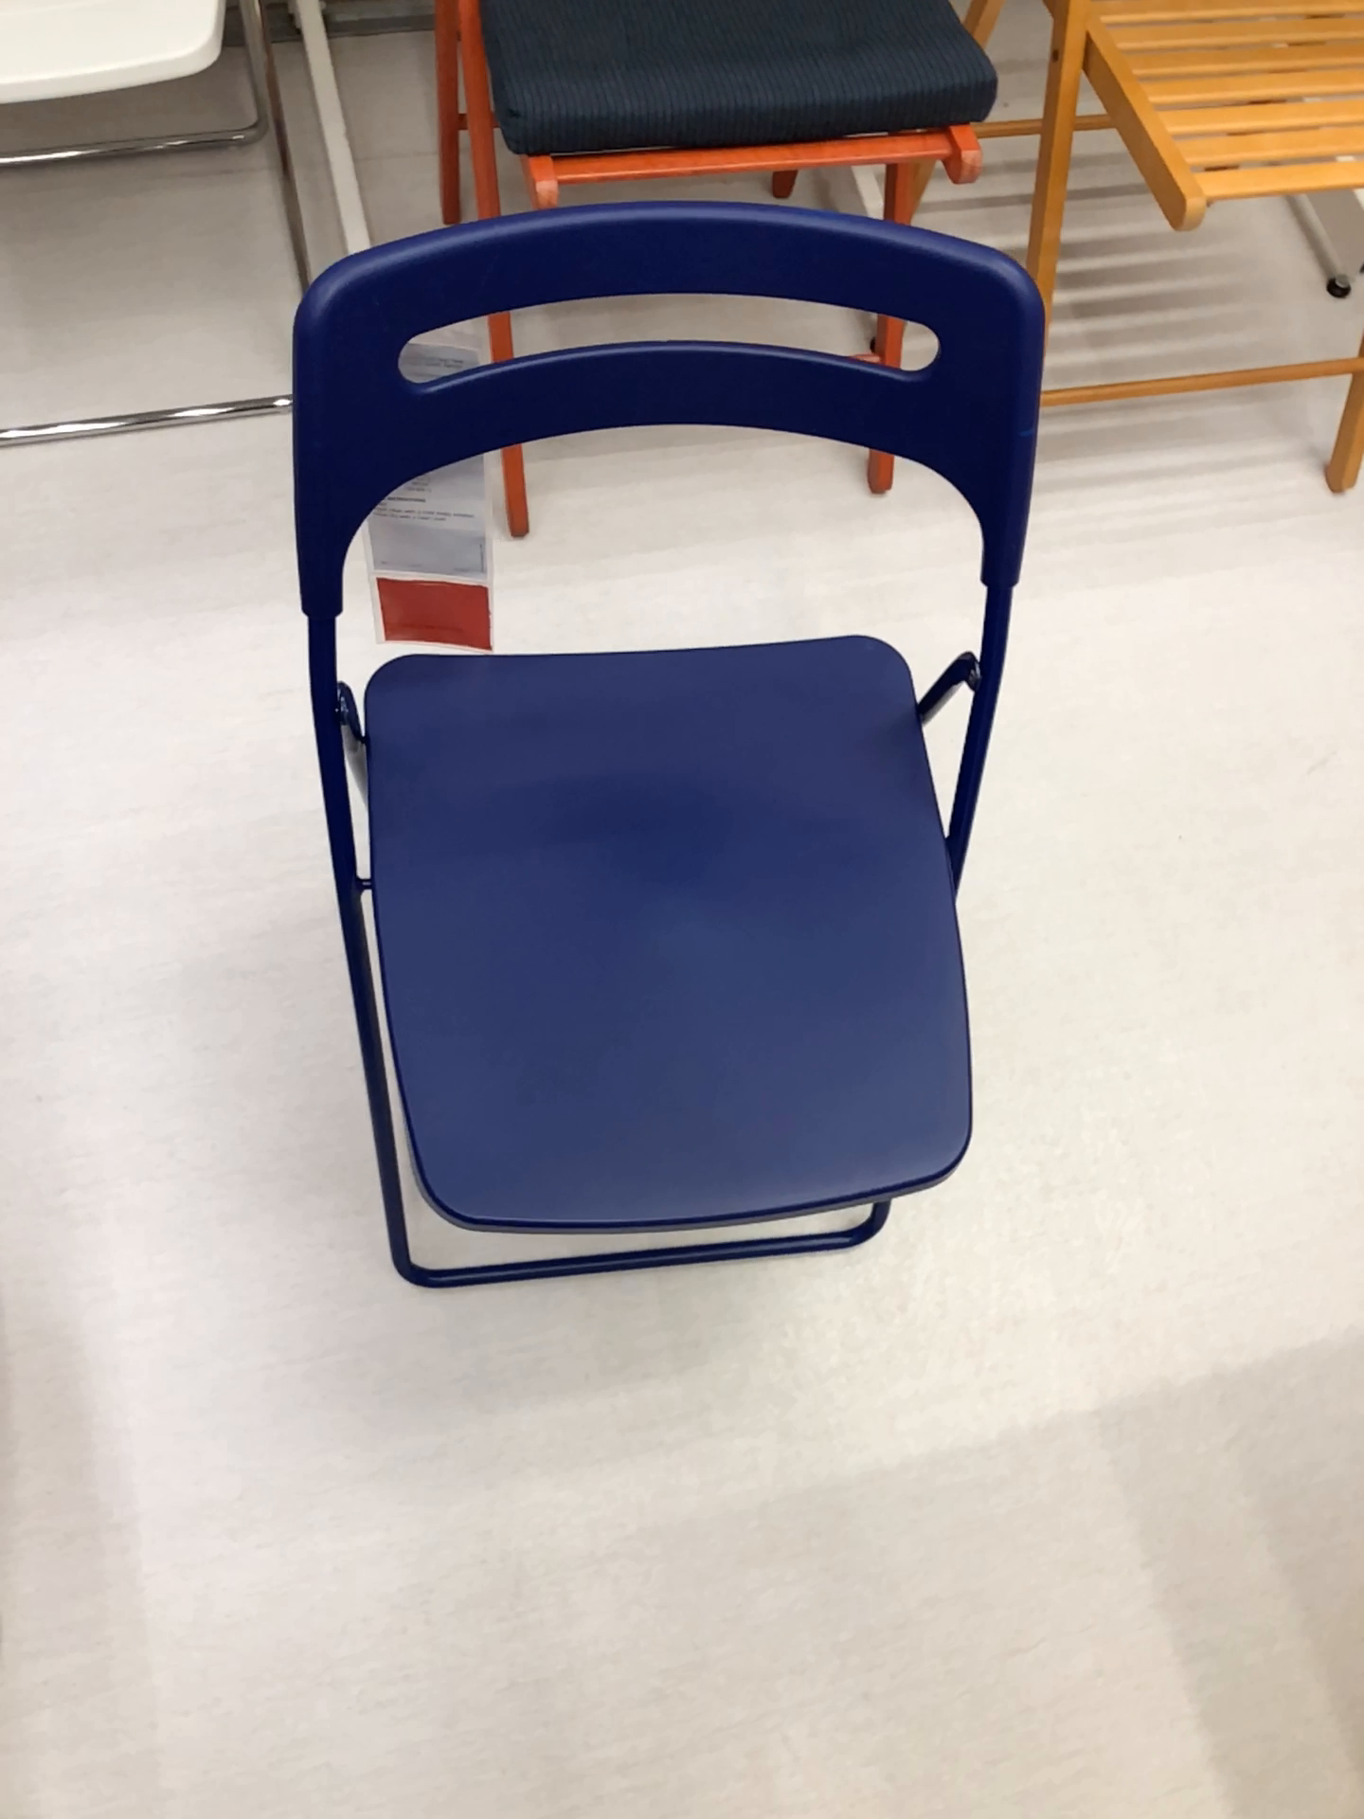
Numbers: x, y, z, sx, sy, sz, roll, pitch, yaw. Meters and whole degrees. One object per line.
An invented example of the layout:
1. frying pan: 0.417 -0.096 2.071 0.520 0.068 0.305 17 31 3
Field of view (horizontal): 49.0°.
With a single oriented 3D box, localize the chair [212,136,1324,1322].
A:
1. chair: -0.014 -0.048 1.025 0.460 0.698 0.502 -4 67 -7
